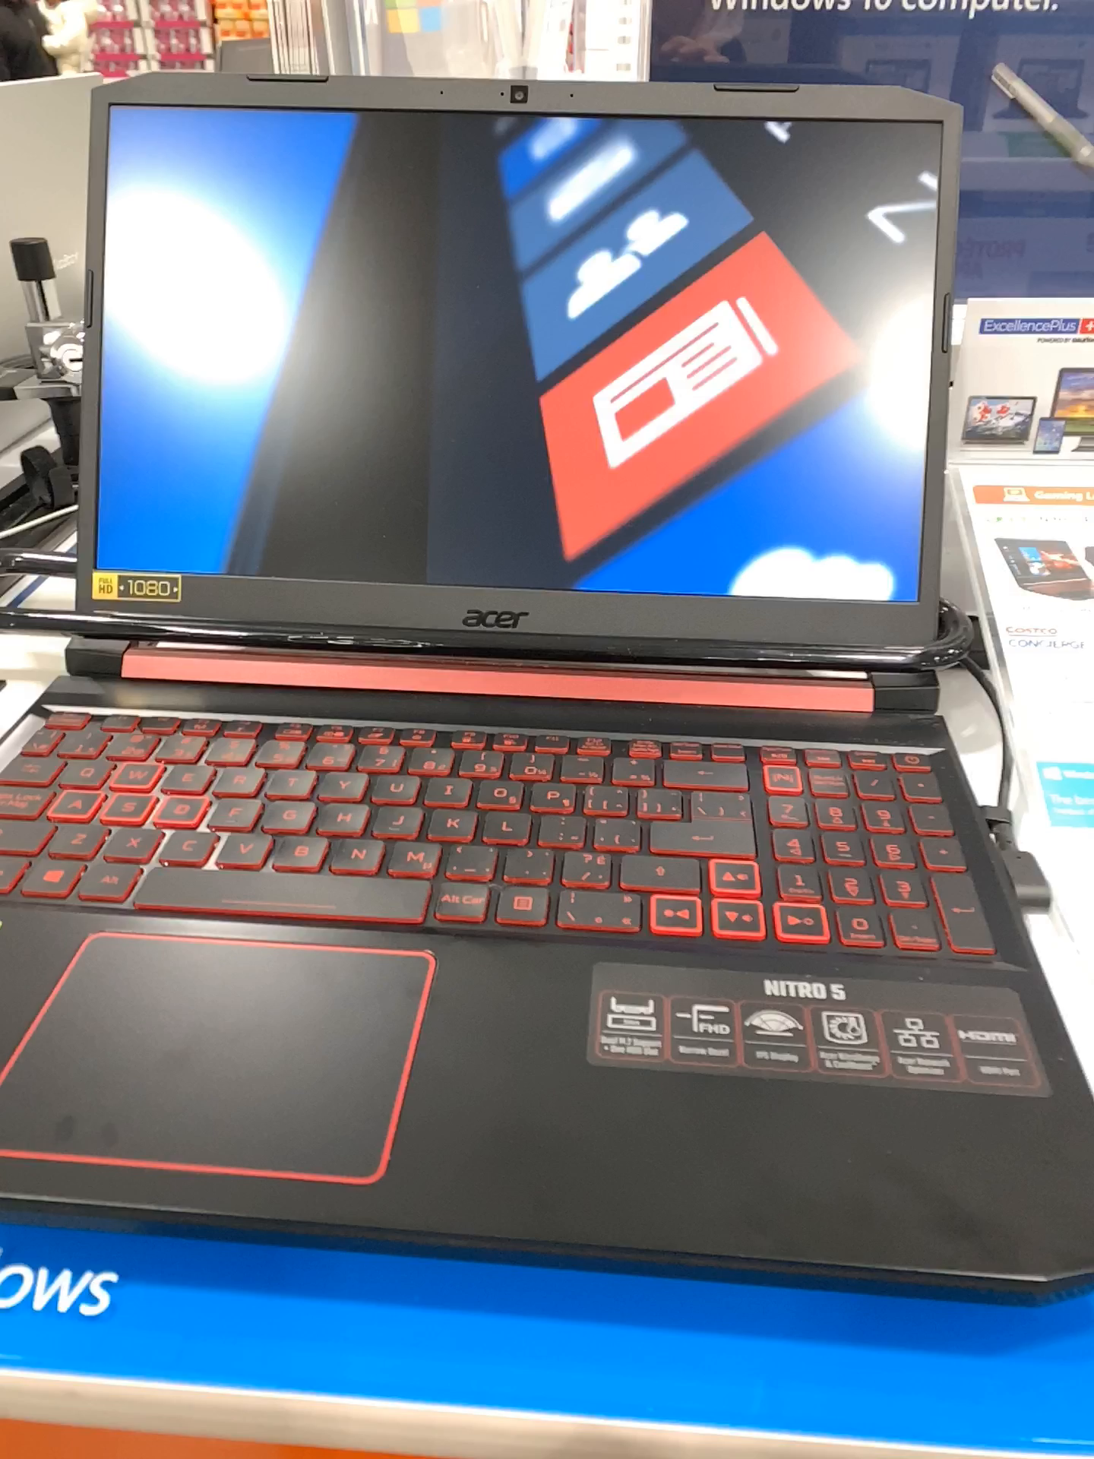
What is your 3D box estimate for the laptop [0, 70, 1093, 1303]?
[{"bbox_3d":[-0.032,-0.083,0.365,0.358,0.198,0.381,3,34,5],"label":"laptop"}]
